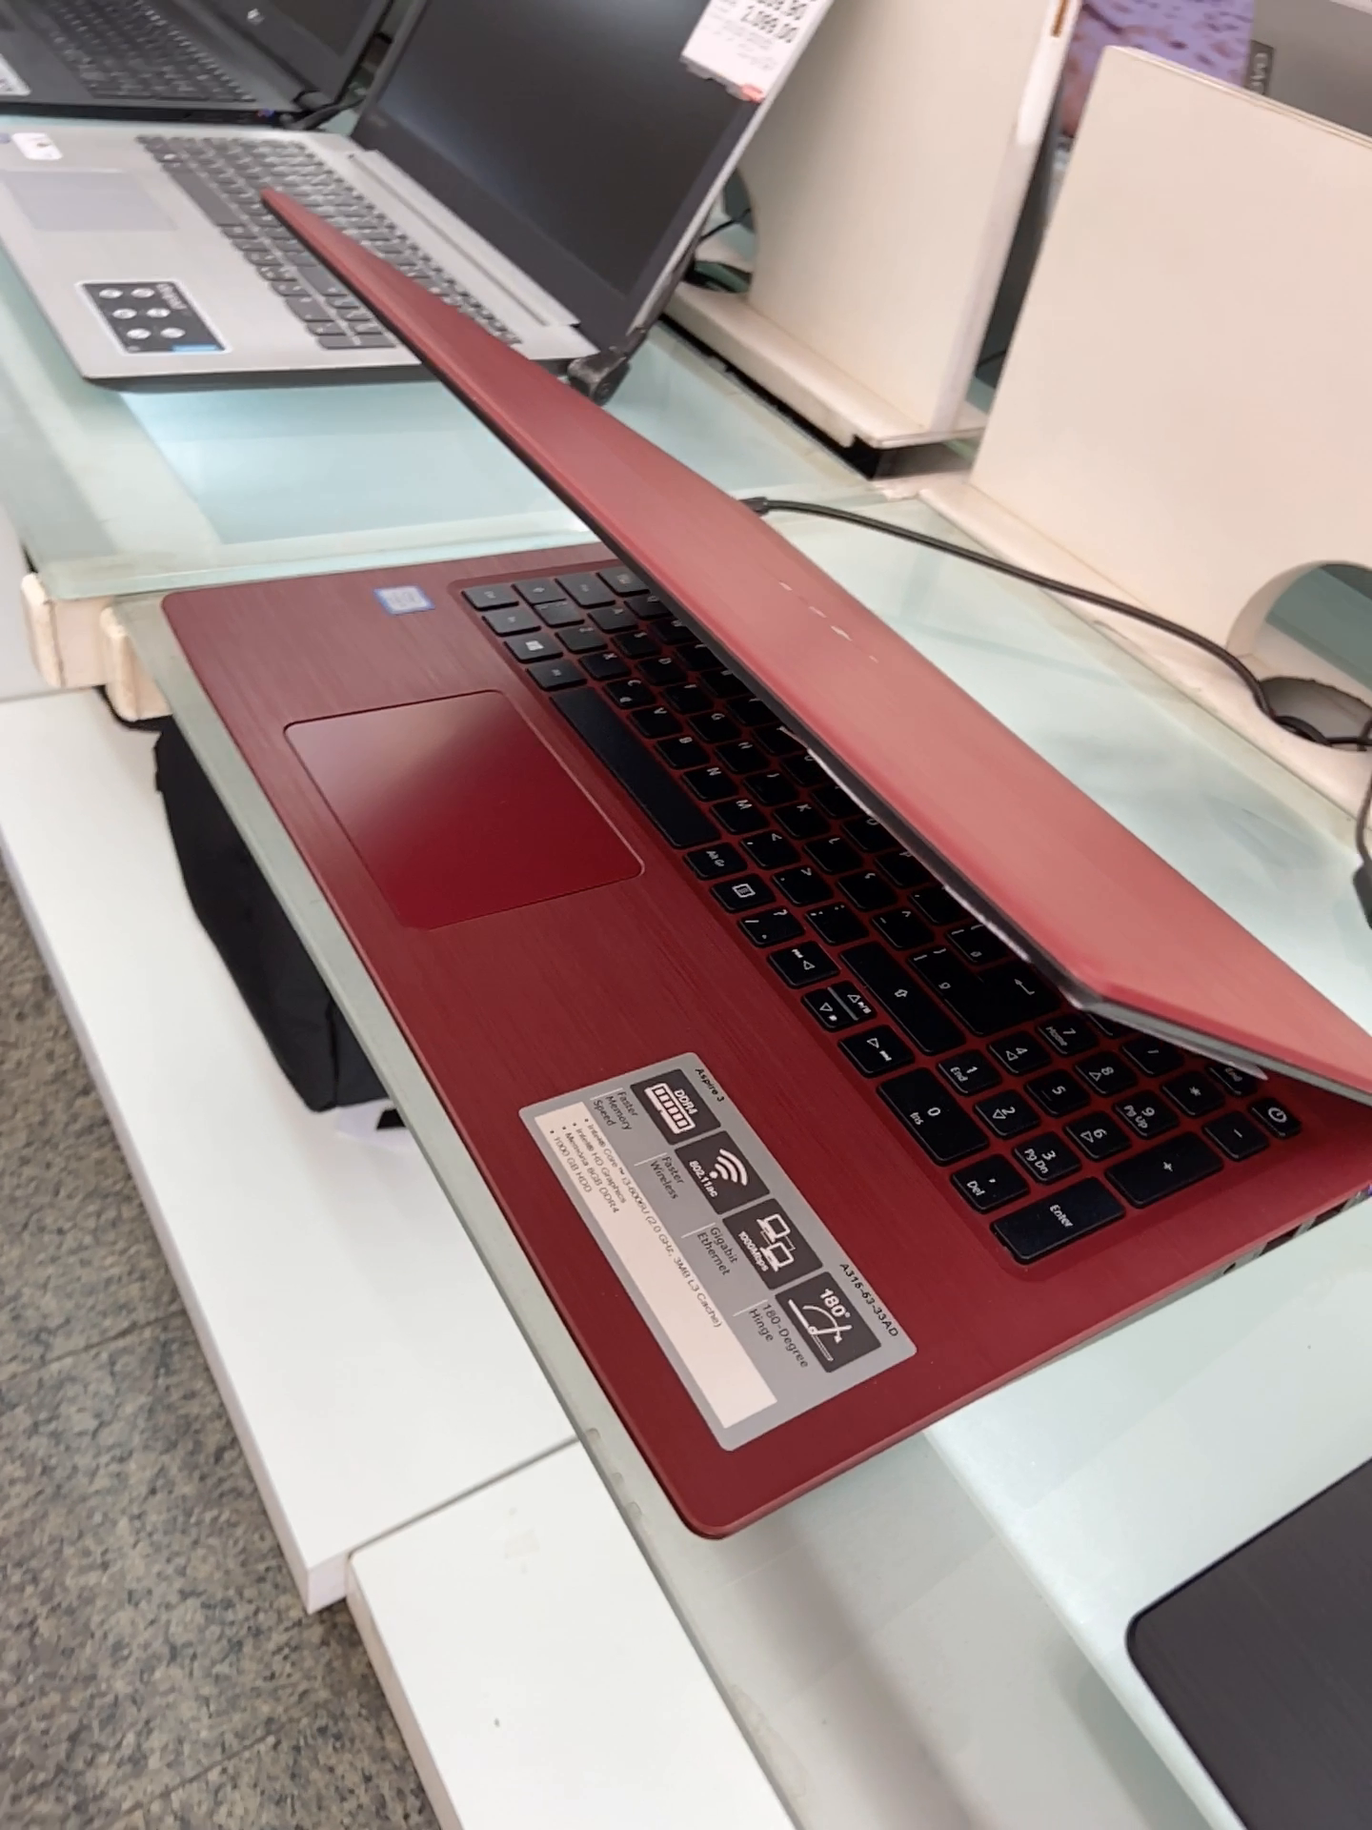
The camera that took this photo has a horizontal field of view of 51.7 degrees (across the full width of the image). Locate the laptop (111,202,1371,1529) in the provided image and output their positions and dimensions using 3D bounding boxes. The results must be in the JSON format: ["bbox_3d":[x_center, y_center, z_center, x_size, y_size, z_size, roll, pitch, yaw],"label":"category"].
[{"bbox_3d":[0.016,-0.074,0.408,0.237,0.132,0.380,-16,47,-29],"label":"laptop"}]

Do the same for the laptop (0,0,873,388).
[{"bbox_3d":[-0.180,-0.478,0.757,0.378,0.215,0.354,-15,49,-28],"label":"laptop"}]
